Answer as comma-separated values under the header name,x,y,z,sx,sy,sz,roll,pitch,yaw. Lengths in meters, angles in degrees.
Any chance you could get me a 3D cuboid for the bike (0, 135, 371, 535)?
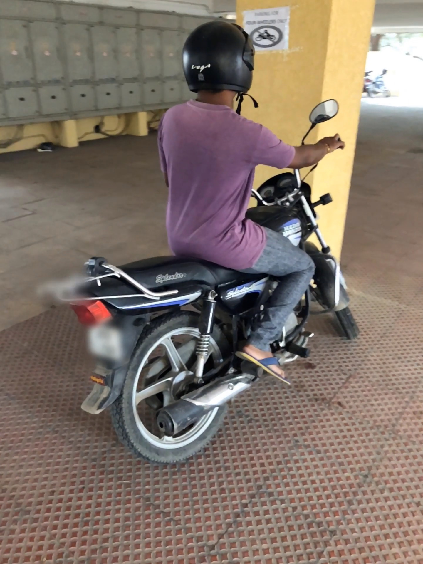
name,x,y,z,sx,sy,sz,roll,pitch,yaw
bike,0.024,0.015,2.190,0.767,1.194,1.548,19,29,33
